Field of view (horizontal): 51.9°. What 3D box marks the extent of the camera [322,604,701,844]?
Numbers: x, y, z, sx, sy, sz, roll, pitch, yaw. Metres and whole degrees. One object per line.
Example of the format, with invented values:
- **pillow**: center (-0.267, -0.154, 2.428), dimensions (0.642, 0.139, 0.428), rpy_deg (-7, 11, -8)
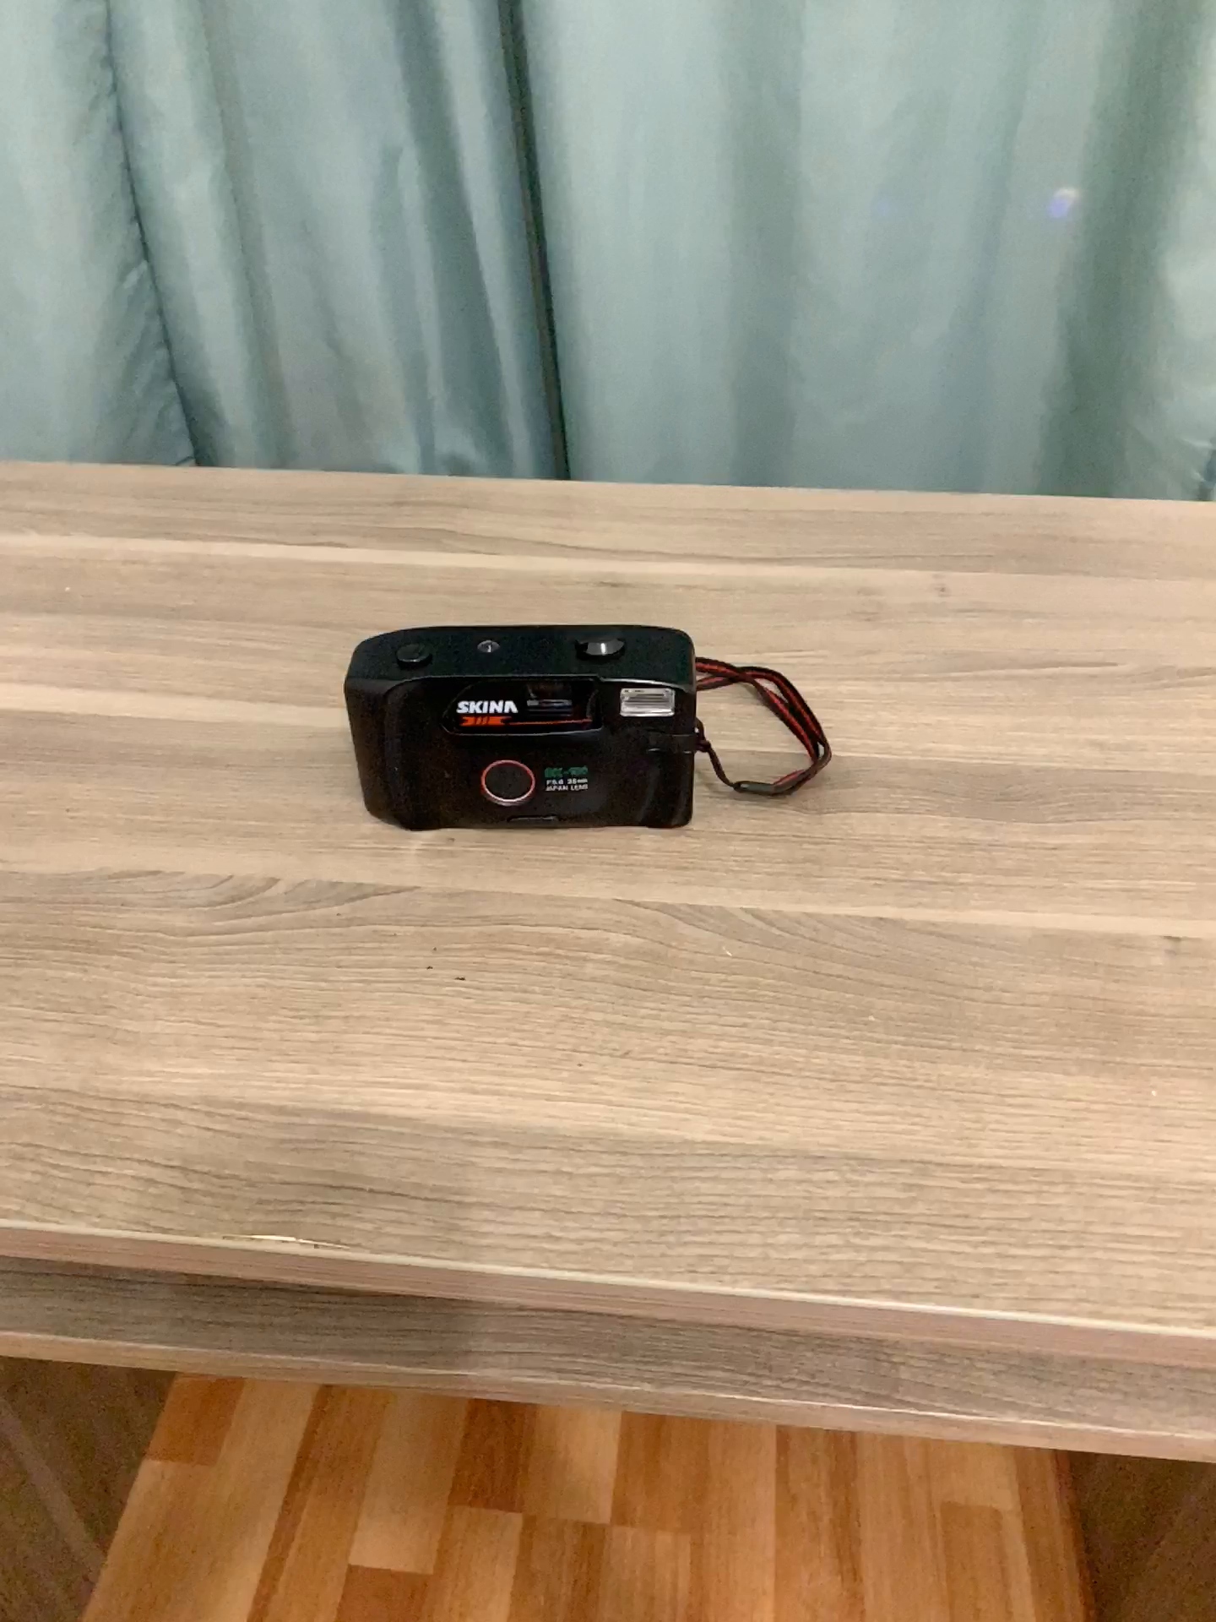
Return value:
- **camera**: center (-0.031, -0.030, 0.435), dimensions (0.120, 0.069, 0.046), rpy_deg (0, 37, -1)
